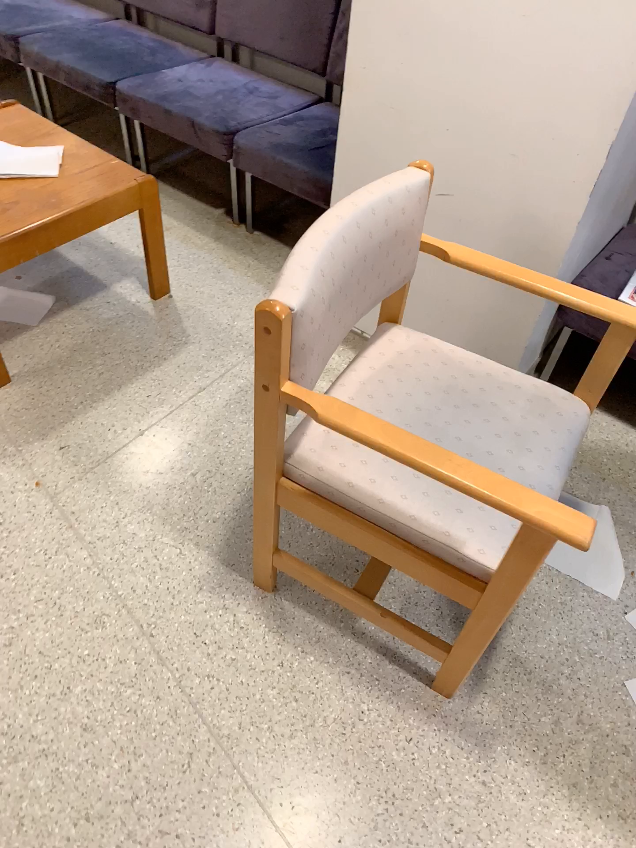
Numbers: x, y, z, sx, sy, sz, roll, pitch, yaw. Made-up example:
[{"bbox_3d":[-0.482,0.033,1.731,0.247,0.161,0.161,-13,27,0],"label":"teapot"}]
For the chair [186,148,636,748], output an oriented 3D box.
[{"bbox_3d":[0.234,0.018,1.169,0.631,0.634,0.635,27,50,17],"label":"chair"}]
